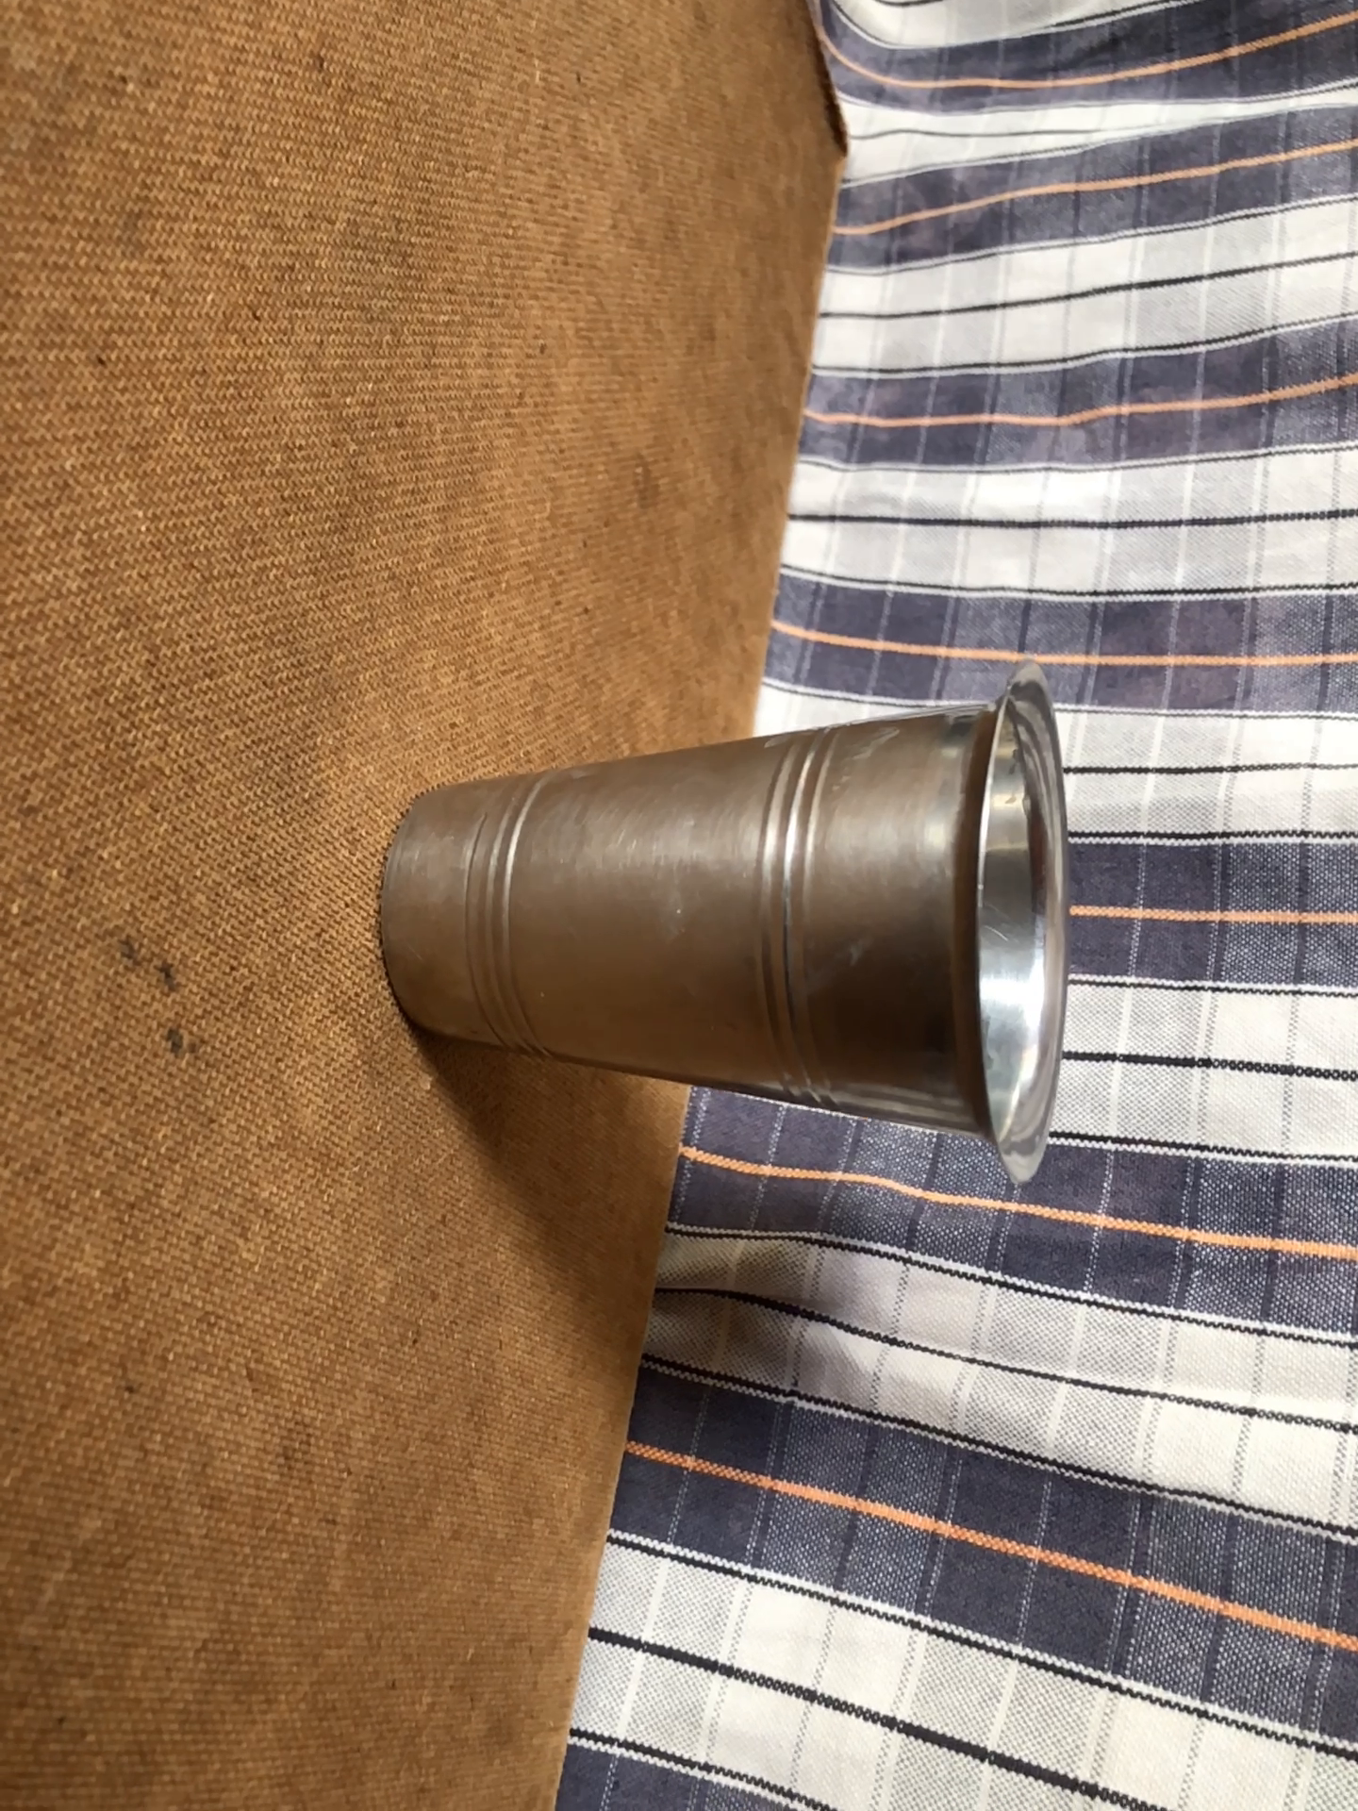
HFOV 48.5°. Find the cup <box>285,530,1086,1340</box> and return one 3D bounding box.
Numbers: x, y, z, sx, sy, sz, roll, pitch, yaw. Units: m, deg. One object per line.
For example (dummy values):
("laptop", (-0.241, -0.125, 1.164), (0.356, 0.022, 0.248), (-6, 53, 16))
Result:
("cup", (0.011, 0.003, 0.239), (0.080, 0.089, 0.090), (-62, 145, -50))
